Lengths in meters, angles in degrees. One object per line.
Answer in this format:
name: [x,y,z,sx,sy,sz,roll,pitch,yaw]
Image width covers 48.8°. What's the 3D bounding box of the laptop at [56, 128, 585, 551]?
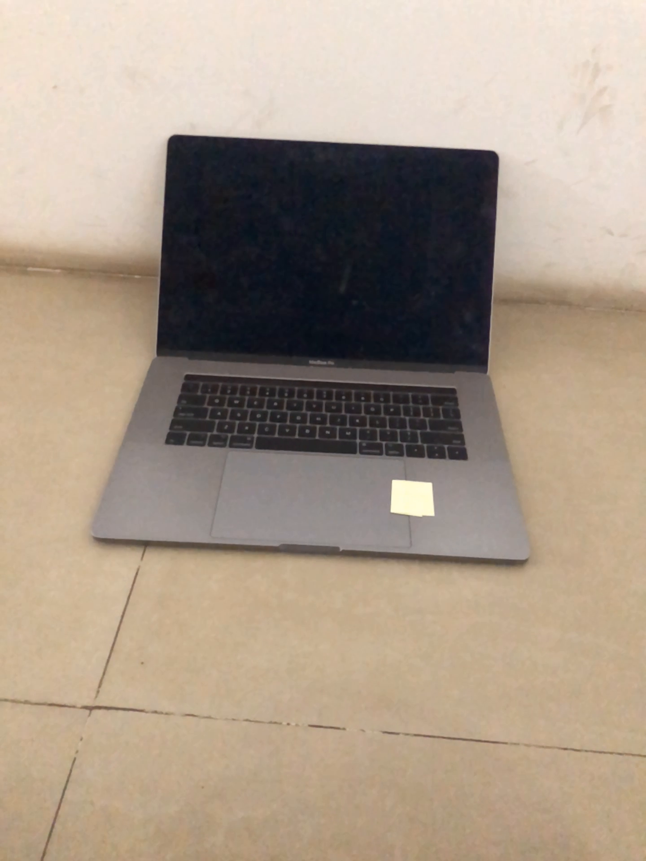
laptop: [0.001,-0.107,0.635,0.329,0.162,0.382,3,42,0]
